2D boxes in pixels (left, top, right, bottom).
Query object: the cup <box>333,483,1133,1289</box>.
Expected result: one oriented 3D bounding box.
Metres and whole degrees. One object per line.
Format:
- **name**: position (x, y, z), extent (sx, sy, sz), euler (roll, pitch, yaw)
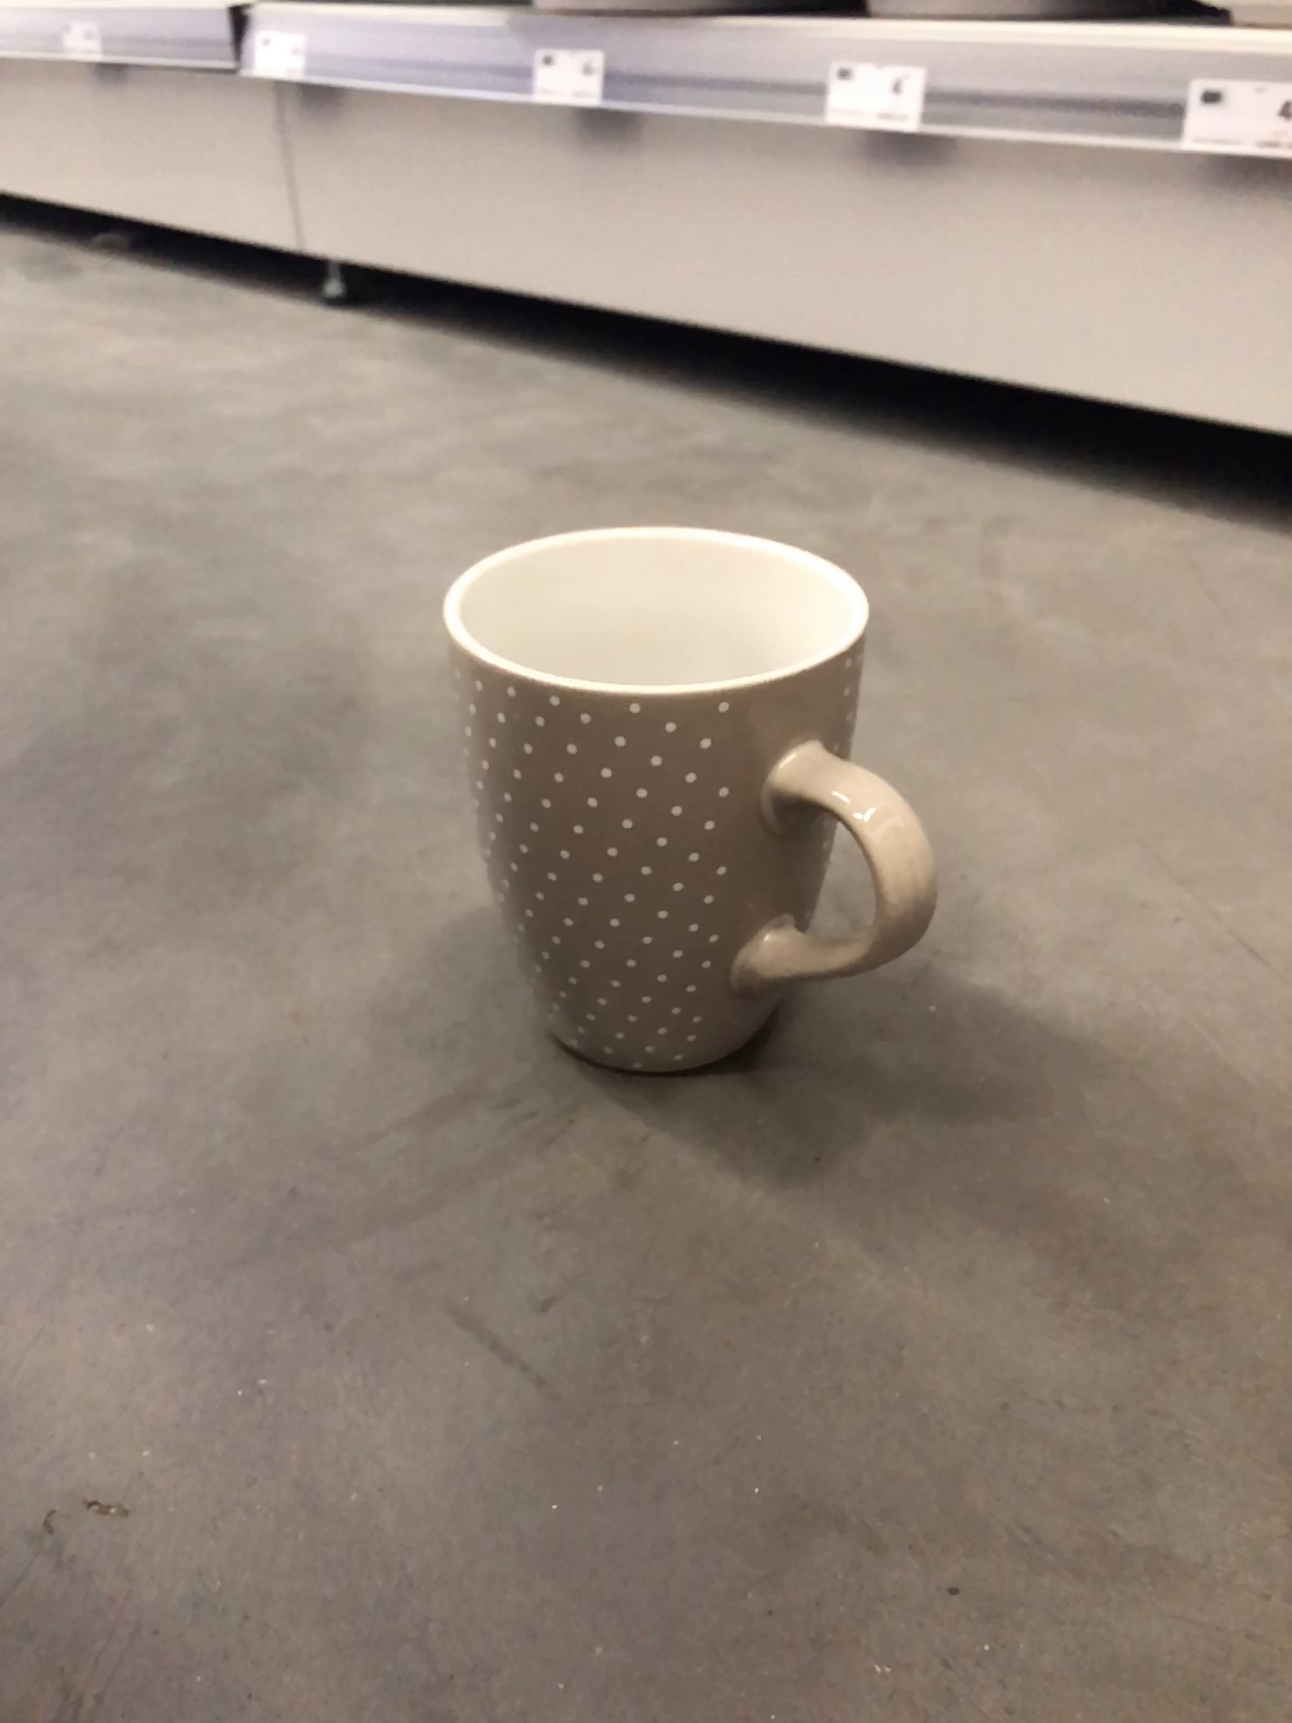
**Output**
- **cup**: position (0.012, -0.007, 0.322), extent (0.092, 0.107, 0.141), euler (-24, 39, -34)
